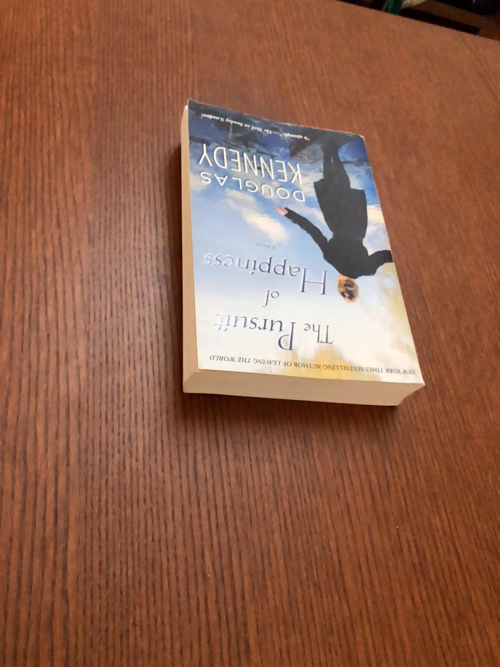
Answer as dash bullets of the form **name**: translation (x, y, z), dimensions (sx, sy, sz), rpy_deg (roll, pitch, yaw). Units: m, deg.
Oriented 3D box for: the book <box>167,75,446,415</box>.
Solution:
- **book**: translation (0.026, -0.068, 0.392), dimensions (0.160, 0.050, 0.241), rpy_deg (5, 58, -16)
